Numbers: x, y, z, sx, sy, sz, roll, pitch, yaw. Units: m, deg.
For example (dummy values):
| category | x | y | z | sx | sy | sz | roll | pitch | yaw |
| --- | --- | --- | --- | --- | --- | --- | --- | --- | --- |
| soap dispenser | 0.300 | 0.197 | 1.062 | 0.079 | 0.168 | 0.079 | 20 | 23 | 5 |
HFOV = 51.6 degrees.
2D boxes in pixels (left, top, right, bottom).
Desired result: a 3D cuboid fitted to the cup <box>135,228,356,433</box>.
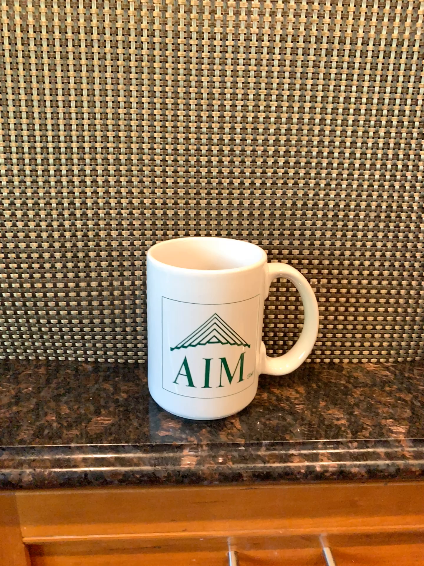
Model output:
| category | x | y | z | sx | sy | sz | roll | pitch | yaw |
| --- | --- | --- | --- | --- | --- | --- | --- | --- | --- |
| cup | 0.014 | 0.026 | 0.319 | 0.130 | 0.109 | 0.090 | -3 | 21 | -13 |
